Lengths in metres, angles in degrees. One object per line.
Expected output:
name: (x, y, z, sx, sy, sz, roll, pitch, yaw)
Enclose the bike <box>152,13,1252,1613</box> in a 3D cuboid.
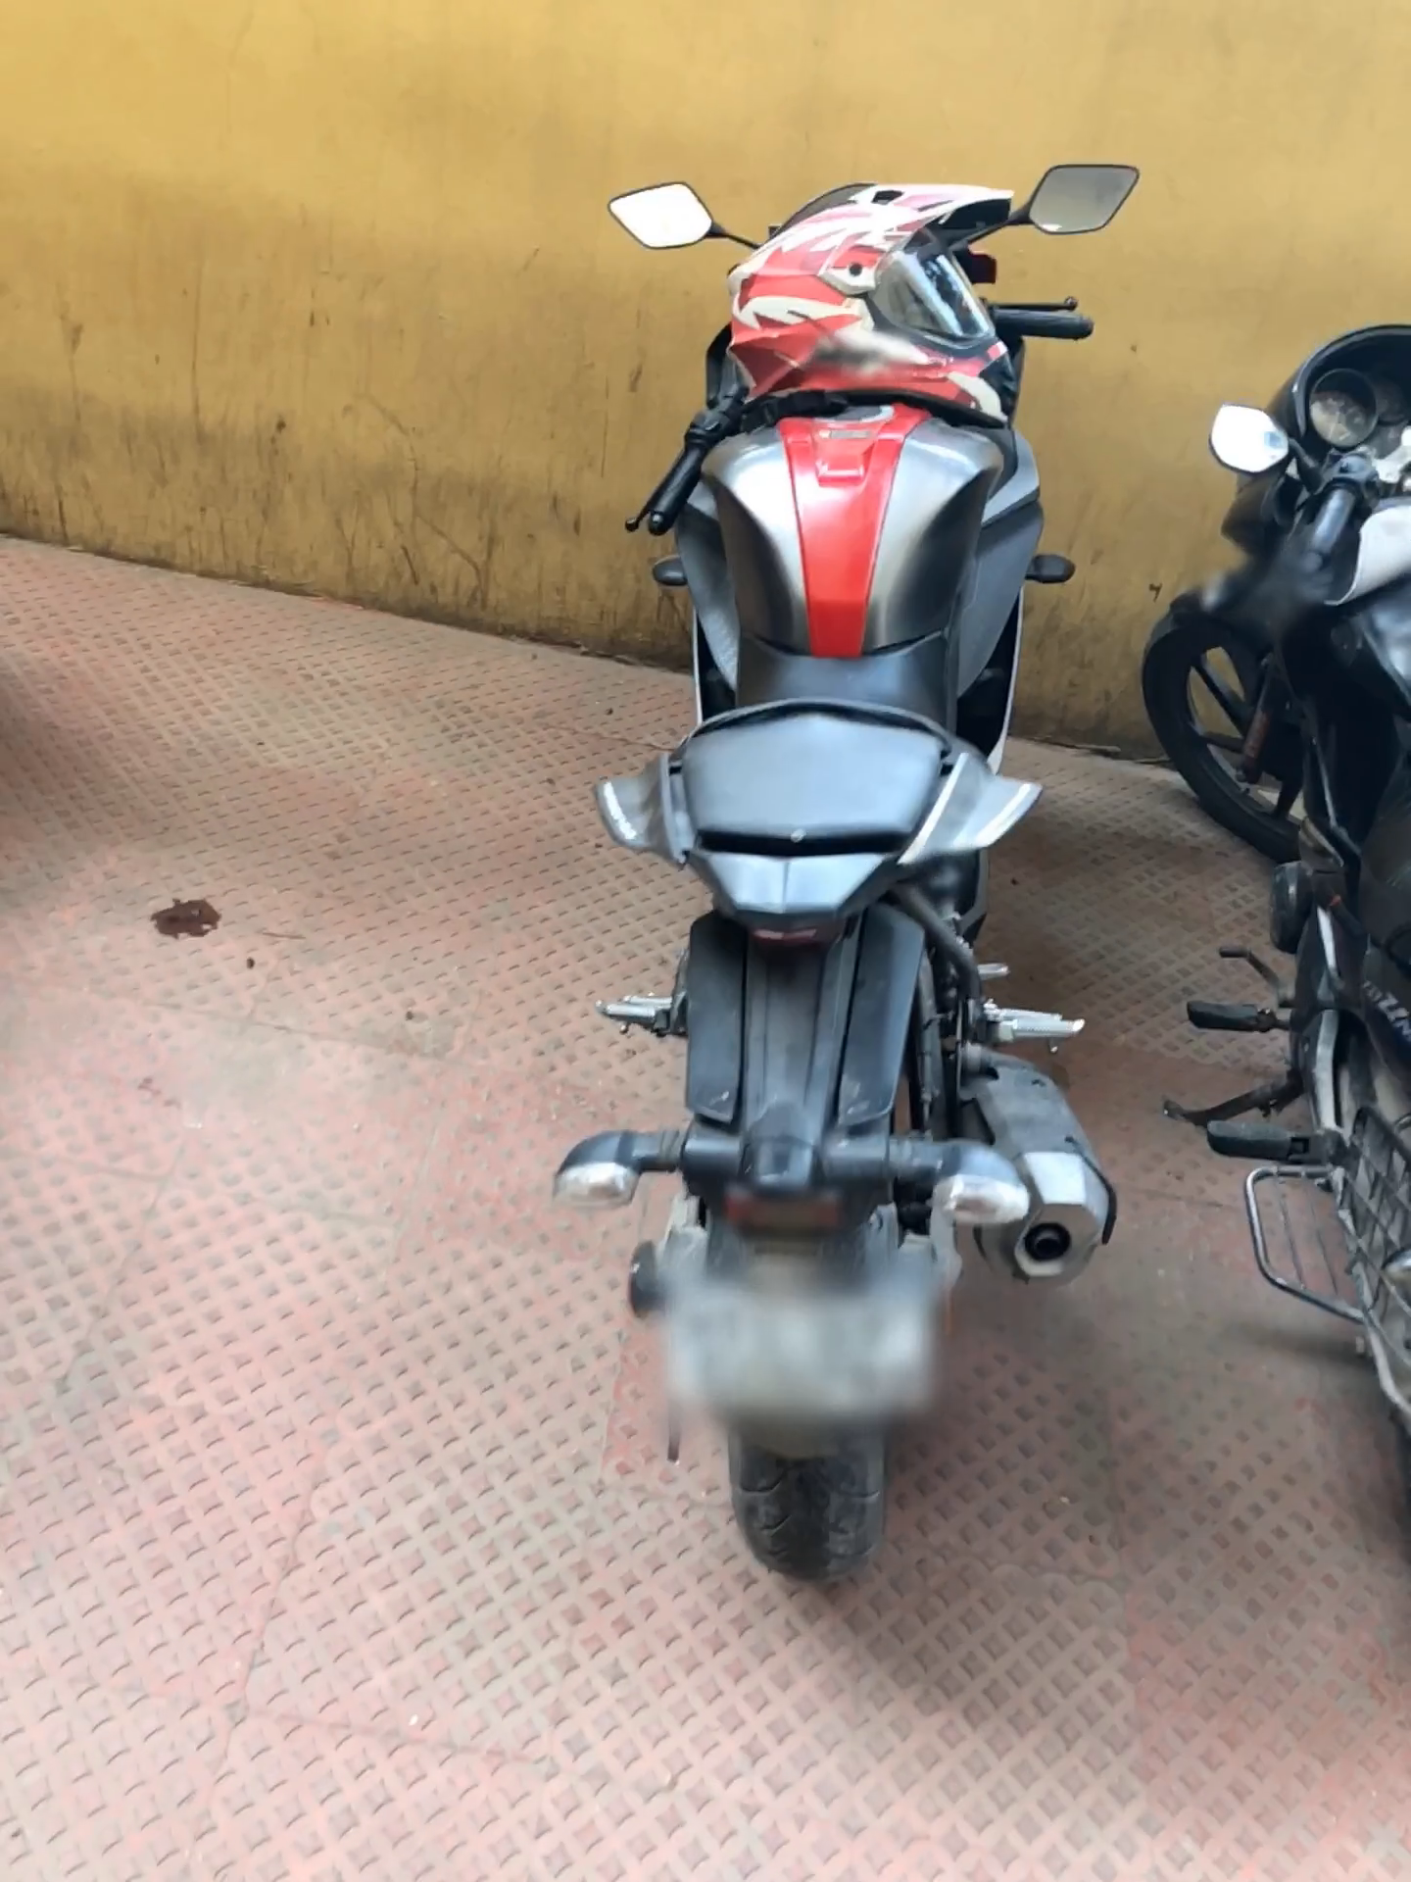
bike: (-0.086, -0.339, 1.910, 0.725, 0.870, 1.754, 6, 43, -6)
